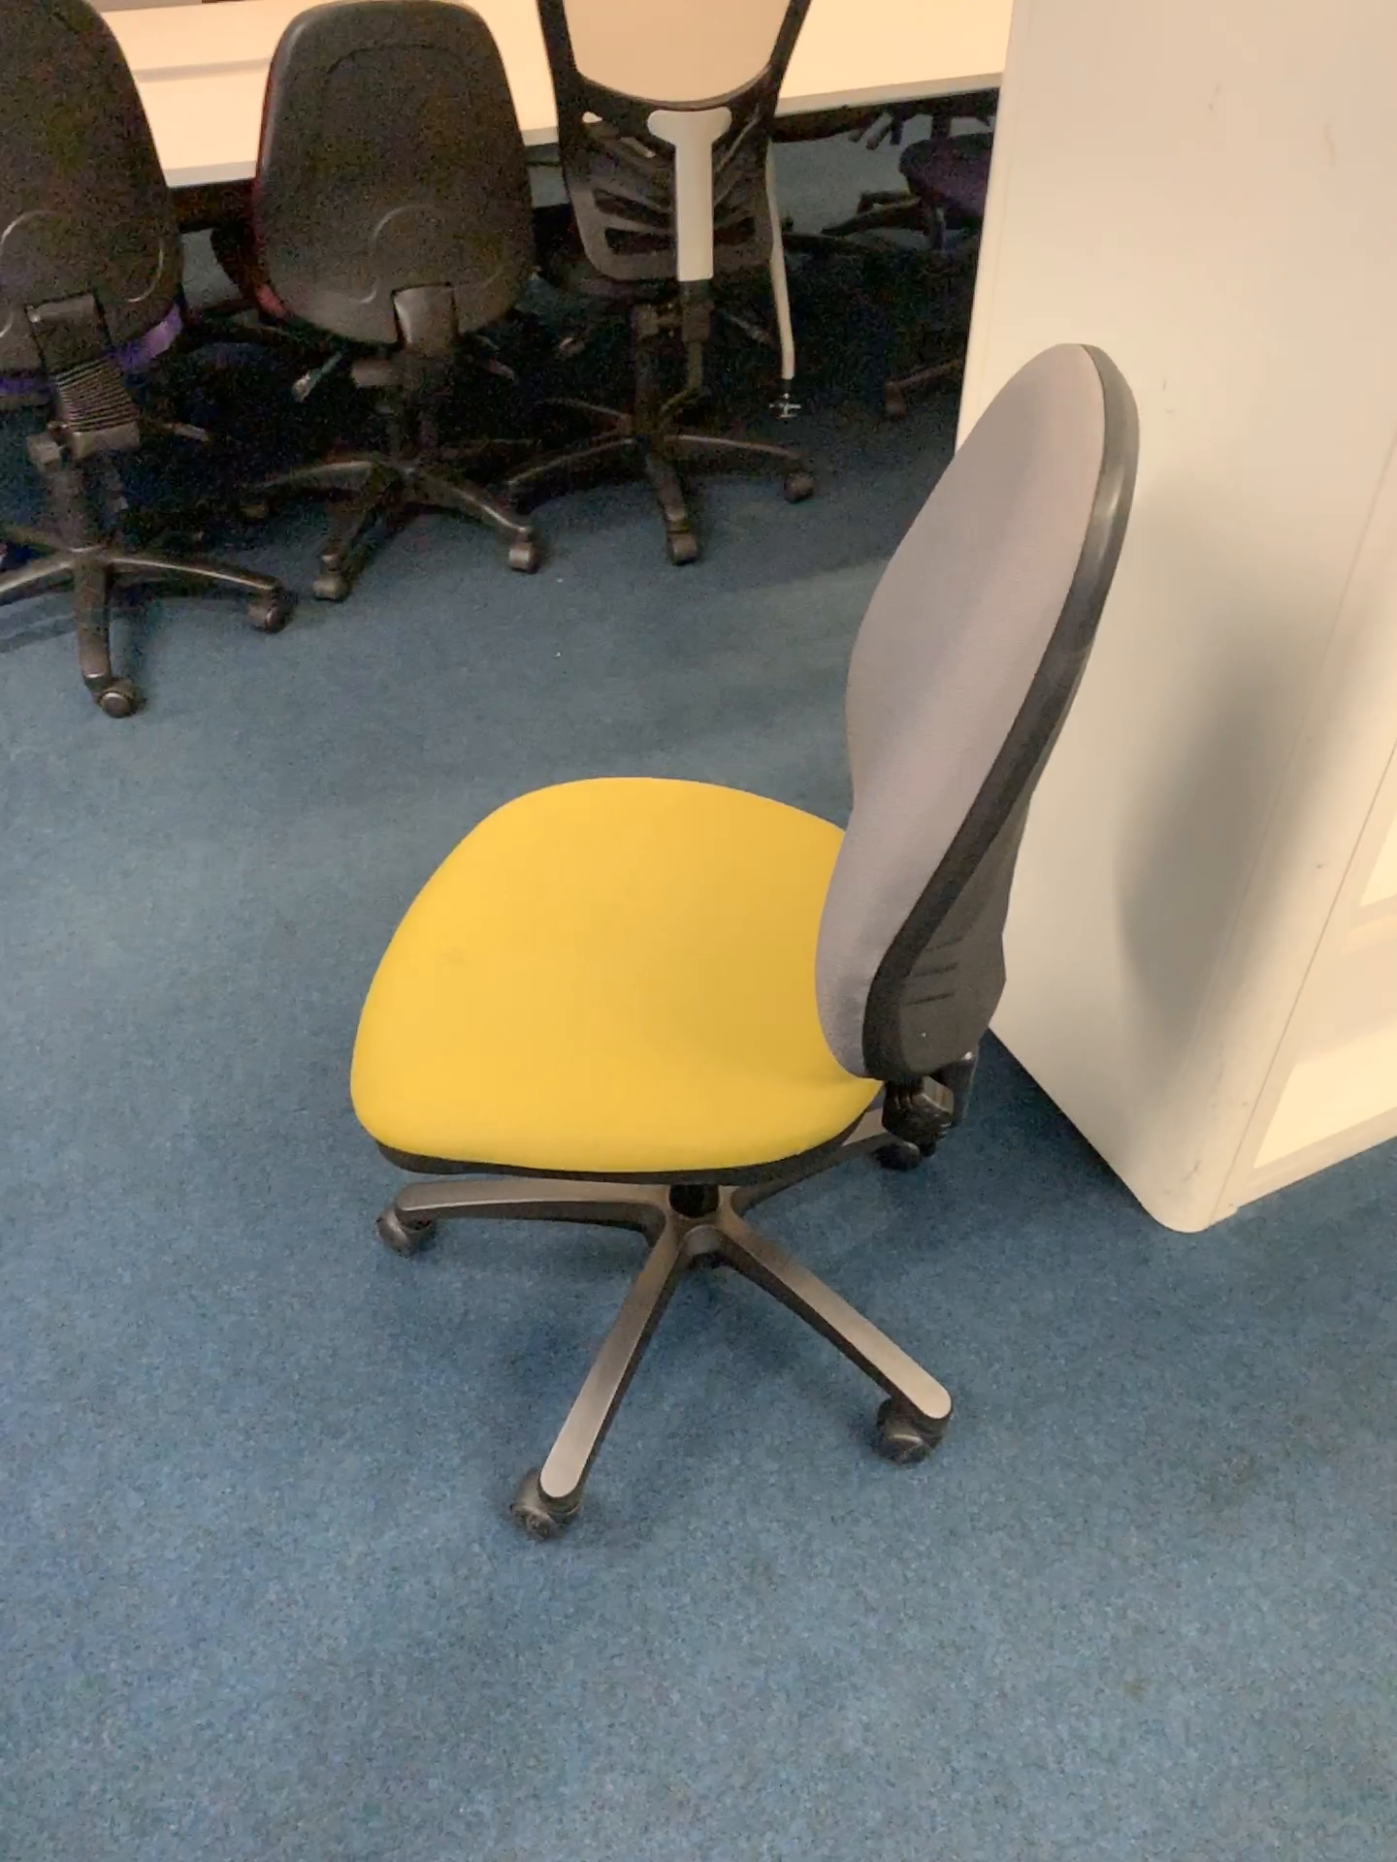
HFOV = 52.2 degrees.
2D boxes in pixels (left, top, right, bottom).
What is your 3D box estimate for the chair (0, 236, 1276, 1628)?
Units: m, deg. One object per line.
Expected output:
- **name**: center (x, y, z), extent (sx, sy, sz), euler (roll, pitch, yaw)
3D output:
- **chair**: center (-0.021, 0.016, 1.213), extent (0.660, 0.921, 0.646), euler (6, 42, 7)
